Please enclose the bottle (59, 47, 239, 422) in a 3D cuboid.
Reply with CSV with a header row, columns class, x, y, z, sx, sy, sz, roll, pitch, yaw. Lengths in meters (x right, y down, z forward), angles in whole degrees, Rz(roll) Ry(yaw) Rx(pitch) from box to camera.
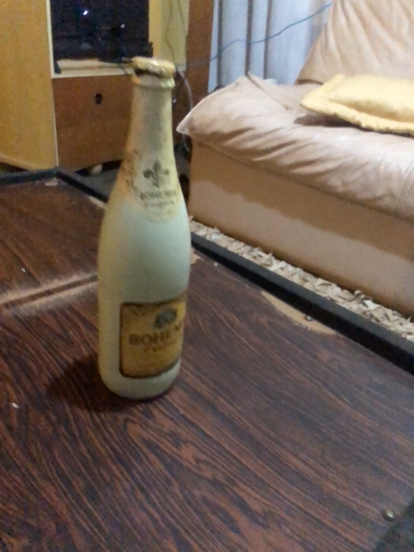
class,x,y,z,sx,sy,sz,roll,pitch,yaw
bottle,-0.045,-0.026,0.339,0.080,0.248,0.080,4,28,-2
